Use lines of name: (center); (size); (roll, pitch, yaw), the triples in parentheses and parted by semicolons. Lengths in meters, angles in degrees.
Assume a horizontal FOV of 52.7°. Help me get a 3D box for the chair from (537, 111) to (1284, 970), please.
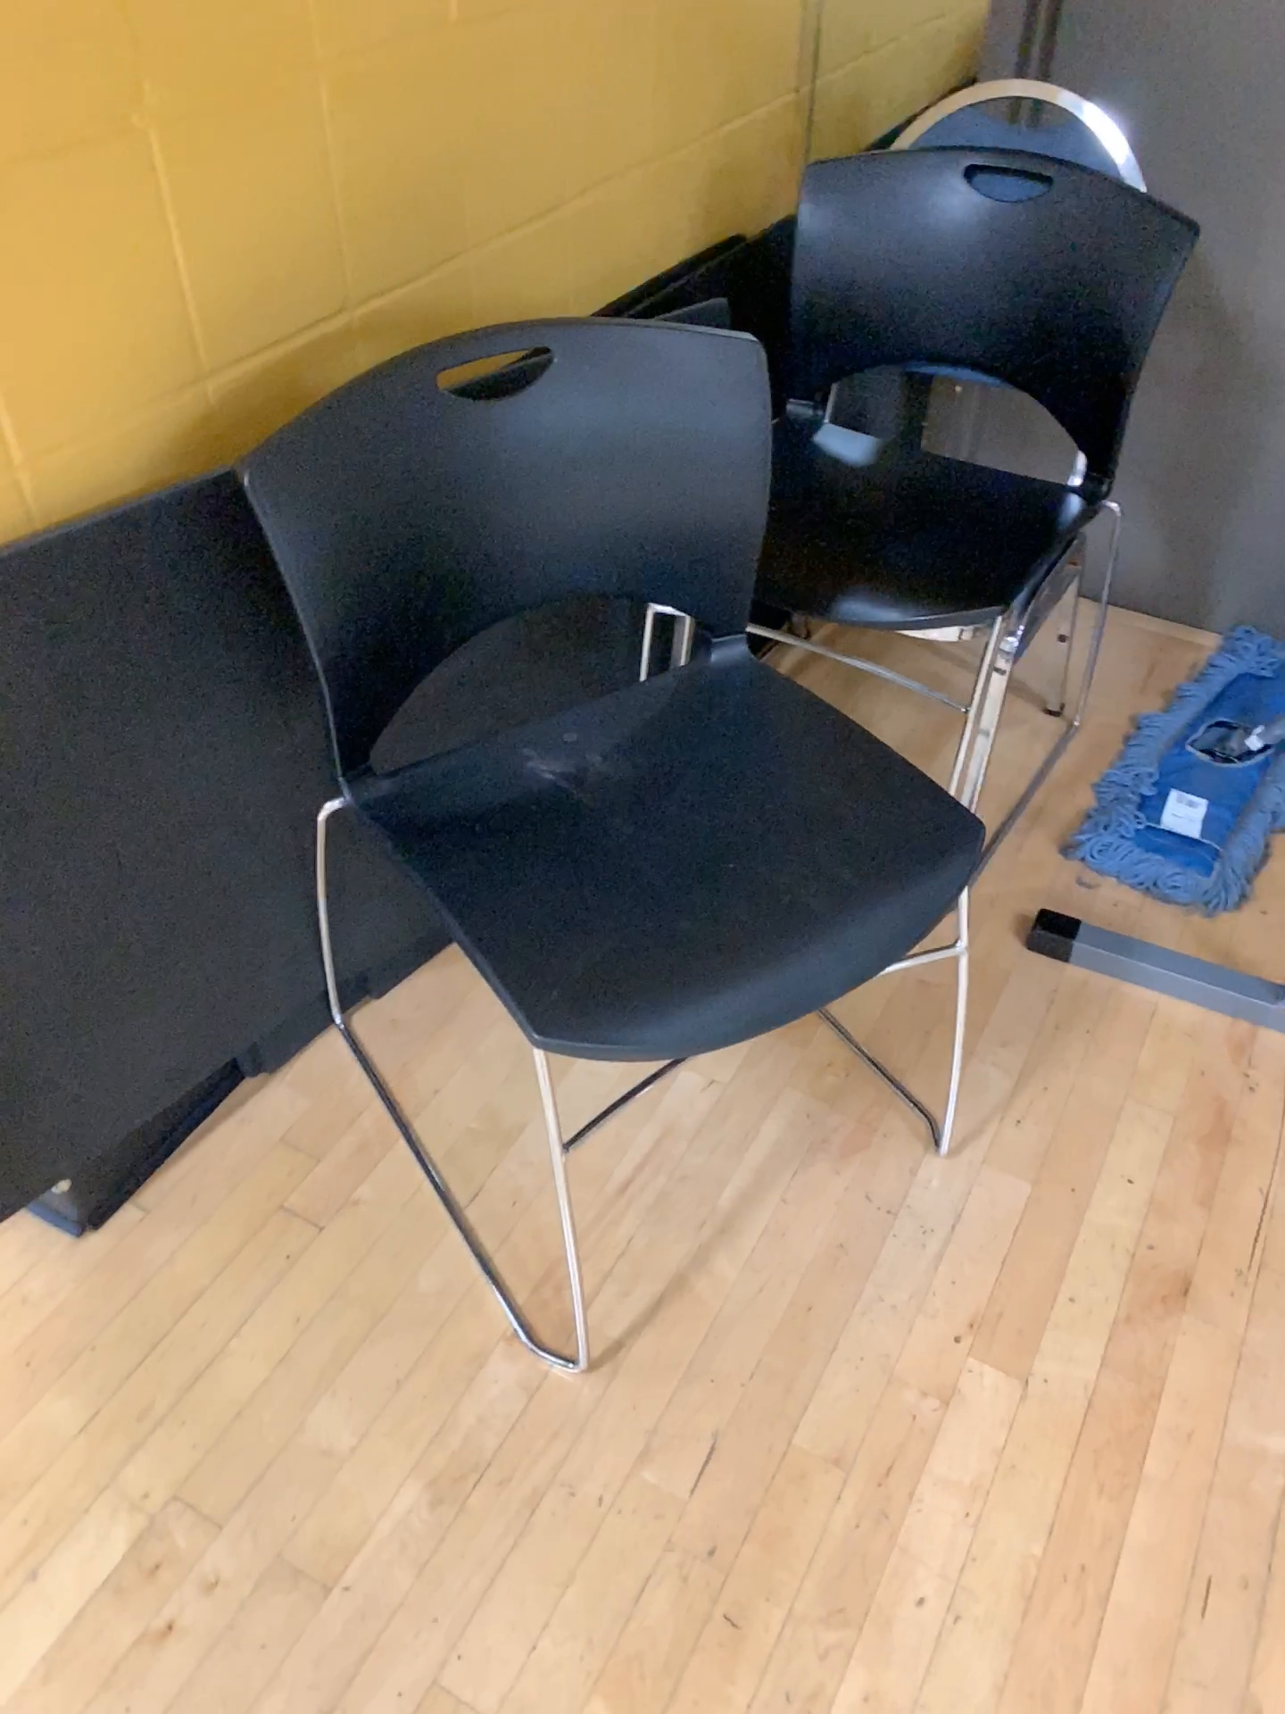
chair: (0.370, -0.481, 1.794); (0.677, 0.762, 0.779); (24, 46, 23)

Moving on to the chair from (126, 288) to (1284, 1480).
chair: (0.007, -0.030, 1.288); (0.637, 0.722, 0.728); (-23, 47, -26)
